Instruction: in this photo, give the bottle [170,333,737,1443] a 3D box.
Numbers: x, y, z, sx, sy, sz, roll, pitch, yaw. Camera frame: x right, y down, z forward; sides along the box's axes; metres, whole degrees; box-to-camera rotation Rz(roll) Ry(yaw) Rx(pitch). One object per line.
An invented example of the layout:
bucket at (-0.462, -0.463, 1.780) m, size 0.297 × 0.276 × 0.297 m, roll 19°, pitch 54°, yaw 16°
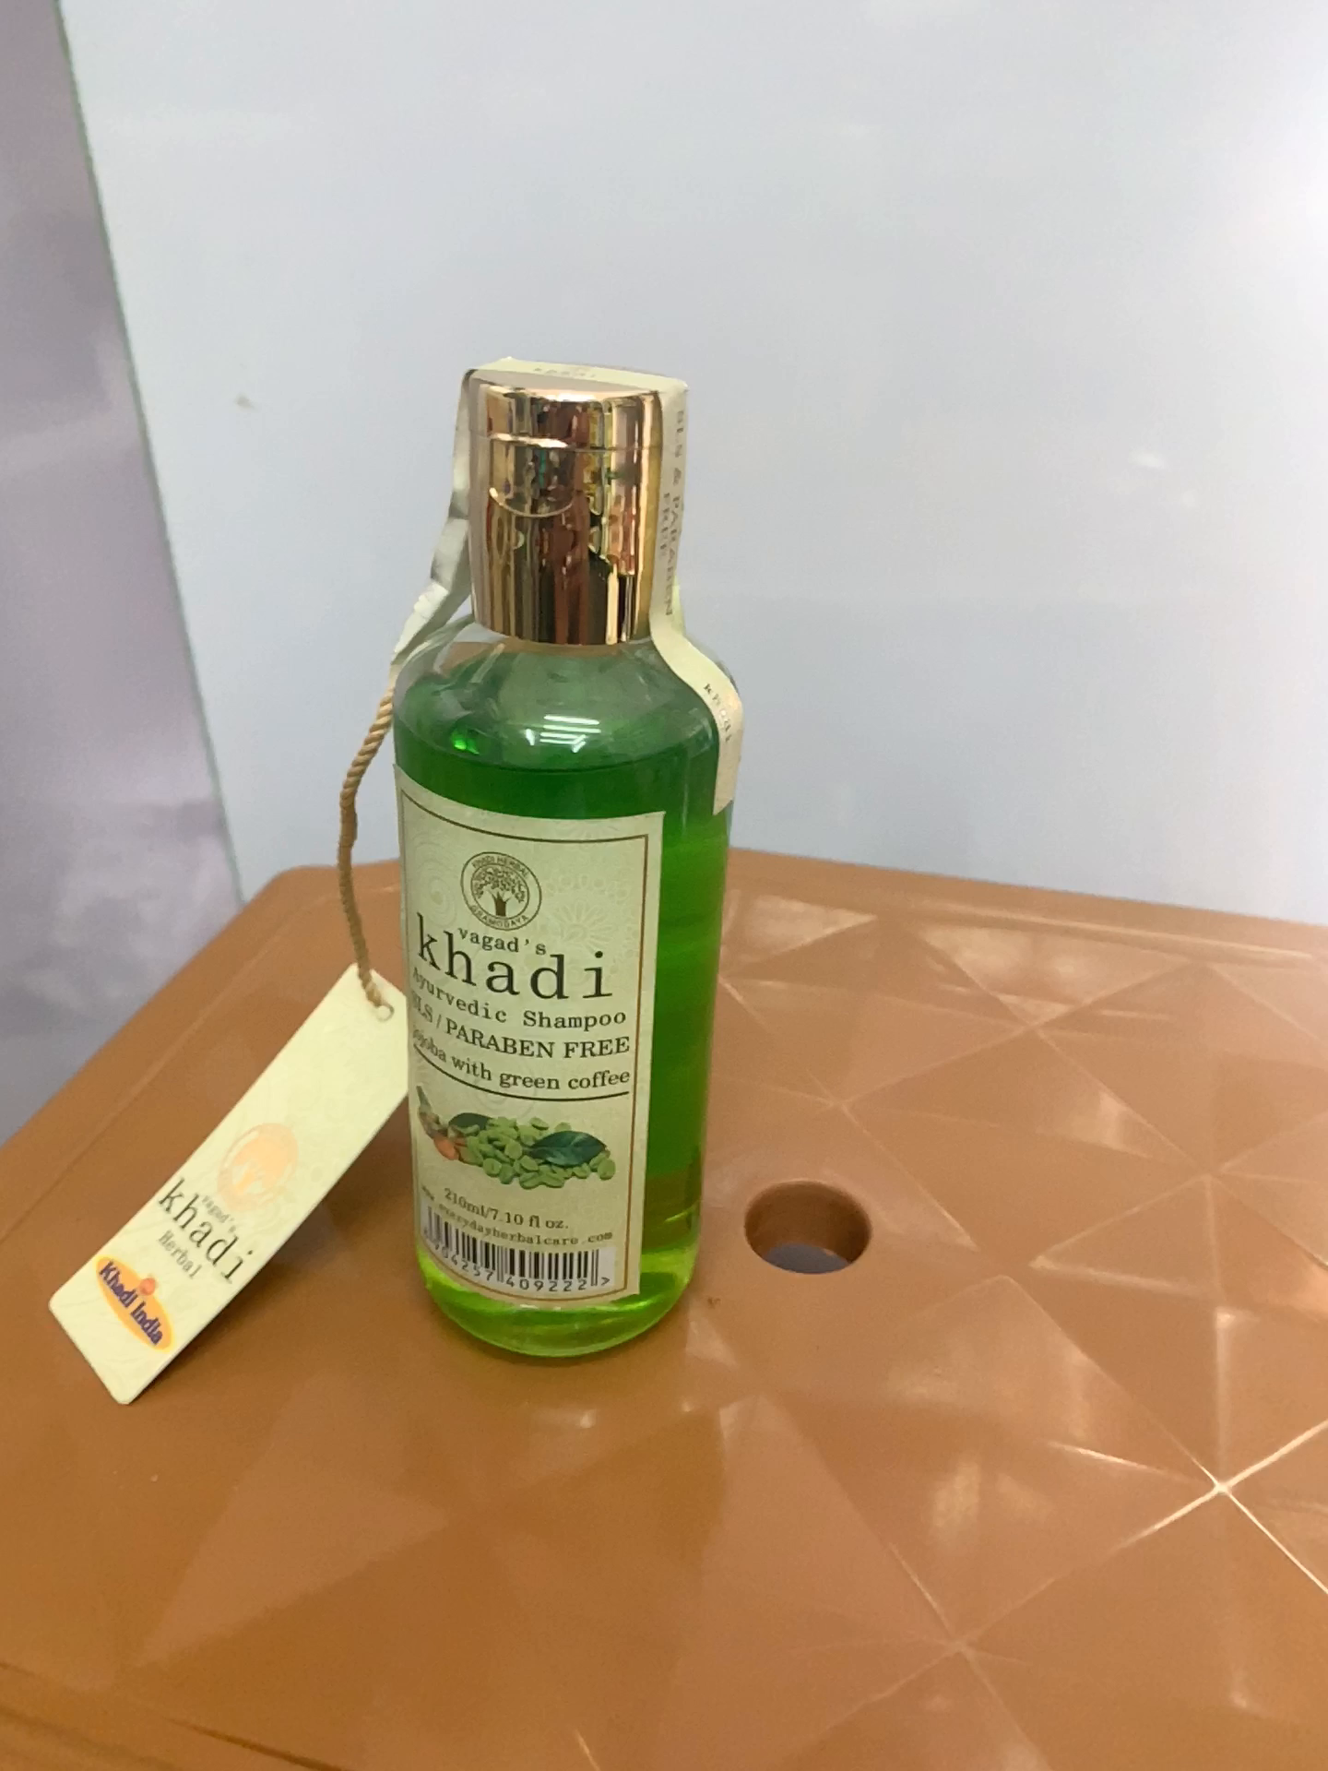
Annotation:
bottle at (-0.024, 0.002, 0.204) m, size 0.050 × 0.149 × 0.050 m, roll 1°, pitch 28°, yaw 0°
